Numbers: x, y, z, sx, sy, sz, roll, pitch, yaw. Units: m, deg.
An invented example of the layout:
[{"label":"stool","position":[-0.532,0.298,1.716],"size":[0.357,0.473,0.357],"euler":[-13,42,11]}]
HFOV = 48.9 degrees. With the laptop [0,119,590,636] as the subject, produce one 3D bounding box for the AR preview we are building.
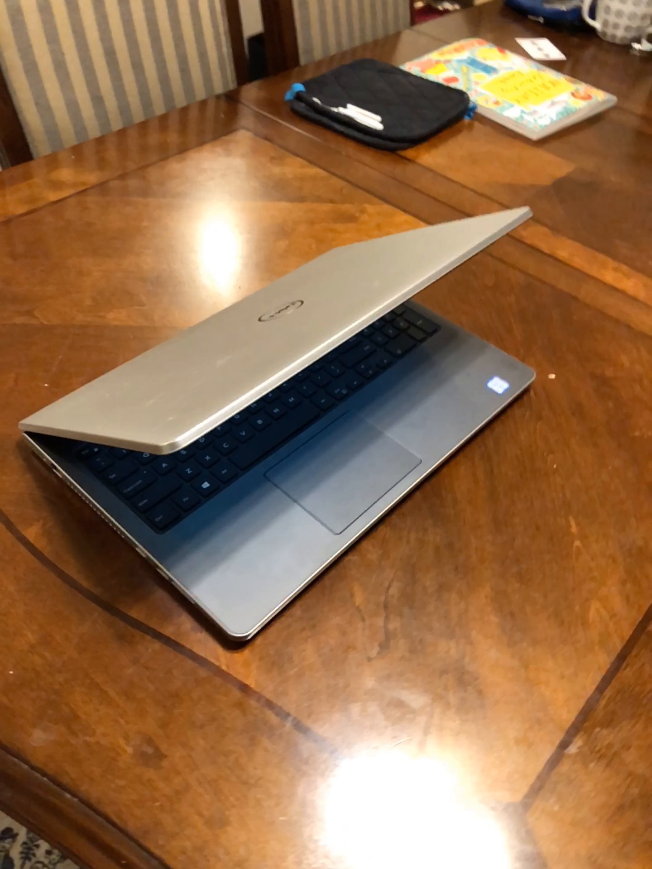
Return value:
[{"label":"laptop","position":[-0.017,-0.078,0.559],"size":[0.245,0.147,0.364],"euler":[37,55,25]}]
